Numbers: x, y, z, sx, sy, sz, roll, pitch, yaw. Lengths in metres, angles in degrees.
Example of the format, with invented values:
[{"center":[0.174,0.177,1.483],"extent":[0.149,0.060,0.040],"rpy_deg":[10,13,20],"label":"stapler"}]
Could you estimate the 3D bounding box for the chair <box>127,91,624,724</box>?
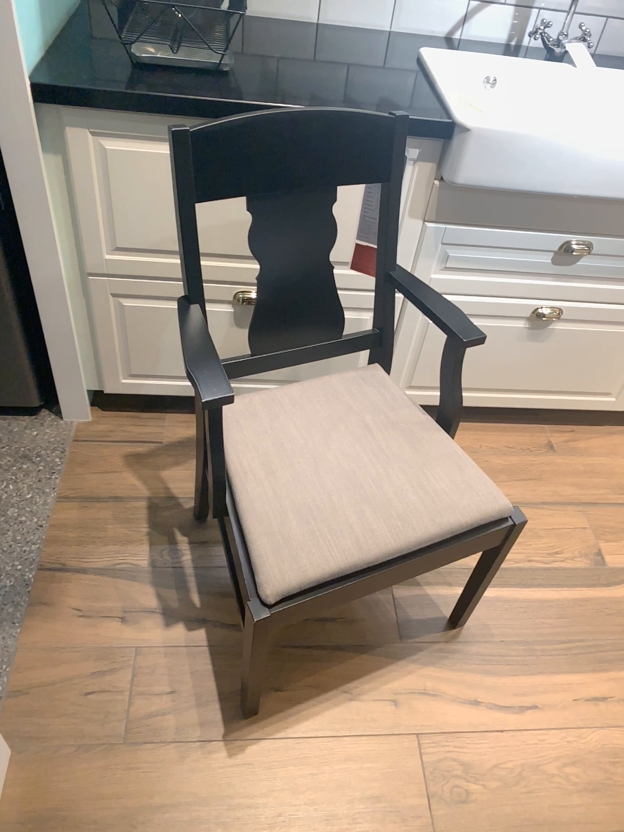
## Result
[{"center":[0.064,-0.003,1.159],"extent":[0.571,0.887,0.592],"rpy_deg":[-14,49,-22],"label":"chair"}]
